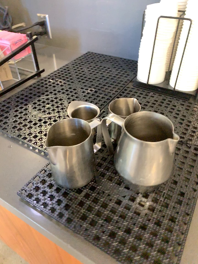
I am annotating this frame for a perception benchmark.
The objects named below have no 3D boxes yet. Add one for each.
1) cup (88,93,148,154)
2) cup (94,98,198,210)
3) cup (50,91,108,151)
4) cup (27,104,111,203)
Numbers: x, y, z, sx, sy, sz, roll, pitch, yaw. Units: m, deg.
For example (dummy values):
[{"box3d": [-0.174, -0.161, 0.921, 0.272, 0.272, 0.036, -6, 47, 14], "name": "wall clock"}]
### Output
[{"box3d": [0.042, -0.022, 0.445, 0.070, 0.070, 0.110, 30, 50, 32], "name": "cup"}, {"box3d": [0.078, 0.033, 0.376, 0.100, 0.119, 0.141, -33, 49, -31], "name": "cup"}, {"box3d": [-0.044, -0.029, 0.455, 0.070, 0.070, 0.110, -32, 49, -31], "name": "cup"}, {"box3d": [-0.048, 0.036, 0.385, 0.080, 0.119, 0.120, 29, 49, 31], "name": "cup"}]
